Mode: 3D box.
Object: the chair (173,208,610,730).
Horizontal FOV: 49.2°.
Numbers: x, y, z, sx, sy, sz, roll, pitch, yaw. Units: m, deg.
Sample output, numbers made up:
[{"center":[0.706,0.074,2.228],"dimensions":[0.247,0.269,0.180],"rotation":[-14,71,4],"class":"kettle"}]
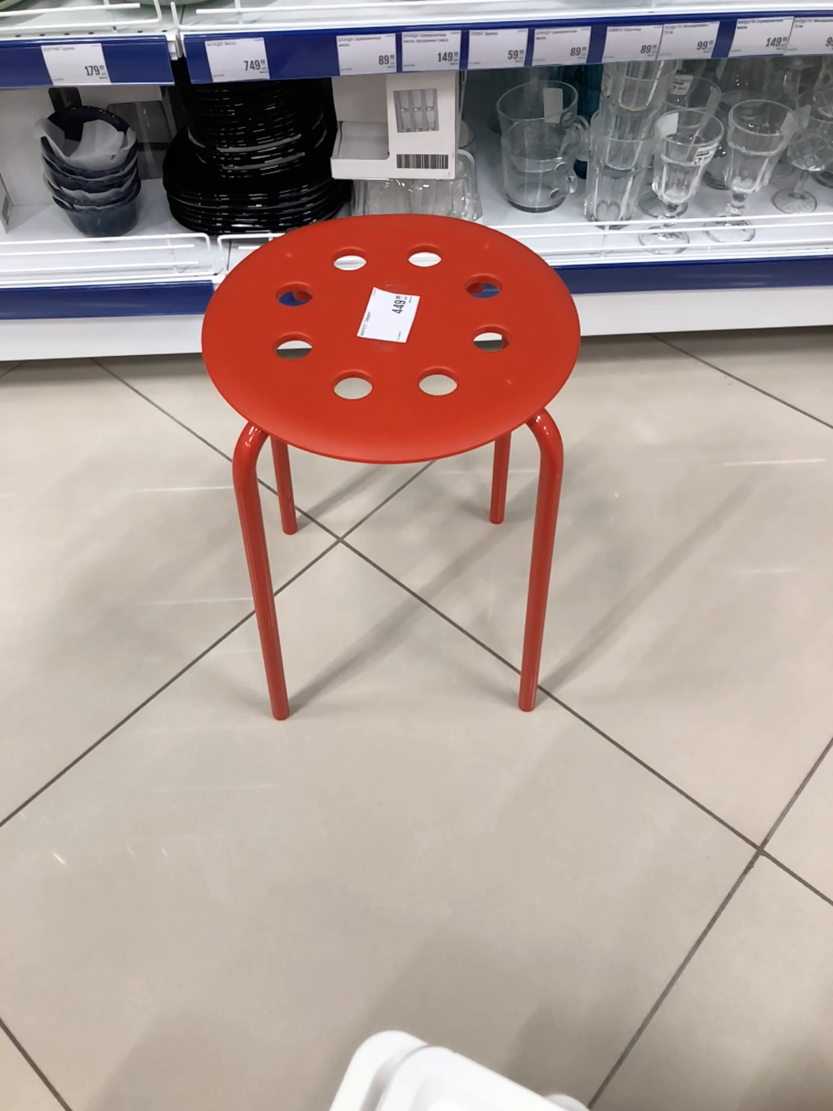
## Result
[{"center":[-0.020,-0.069,0.909],"dimensions":[0.313,0.405,0.322],"rotation":[-2,52,0],"class":"chair"}]
